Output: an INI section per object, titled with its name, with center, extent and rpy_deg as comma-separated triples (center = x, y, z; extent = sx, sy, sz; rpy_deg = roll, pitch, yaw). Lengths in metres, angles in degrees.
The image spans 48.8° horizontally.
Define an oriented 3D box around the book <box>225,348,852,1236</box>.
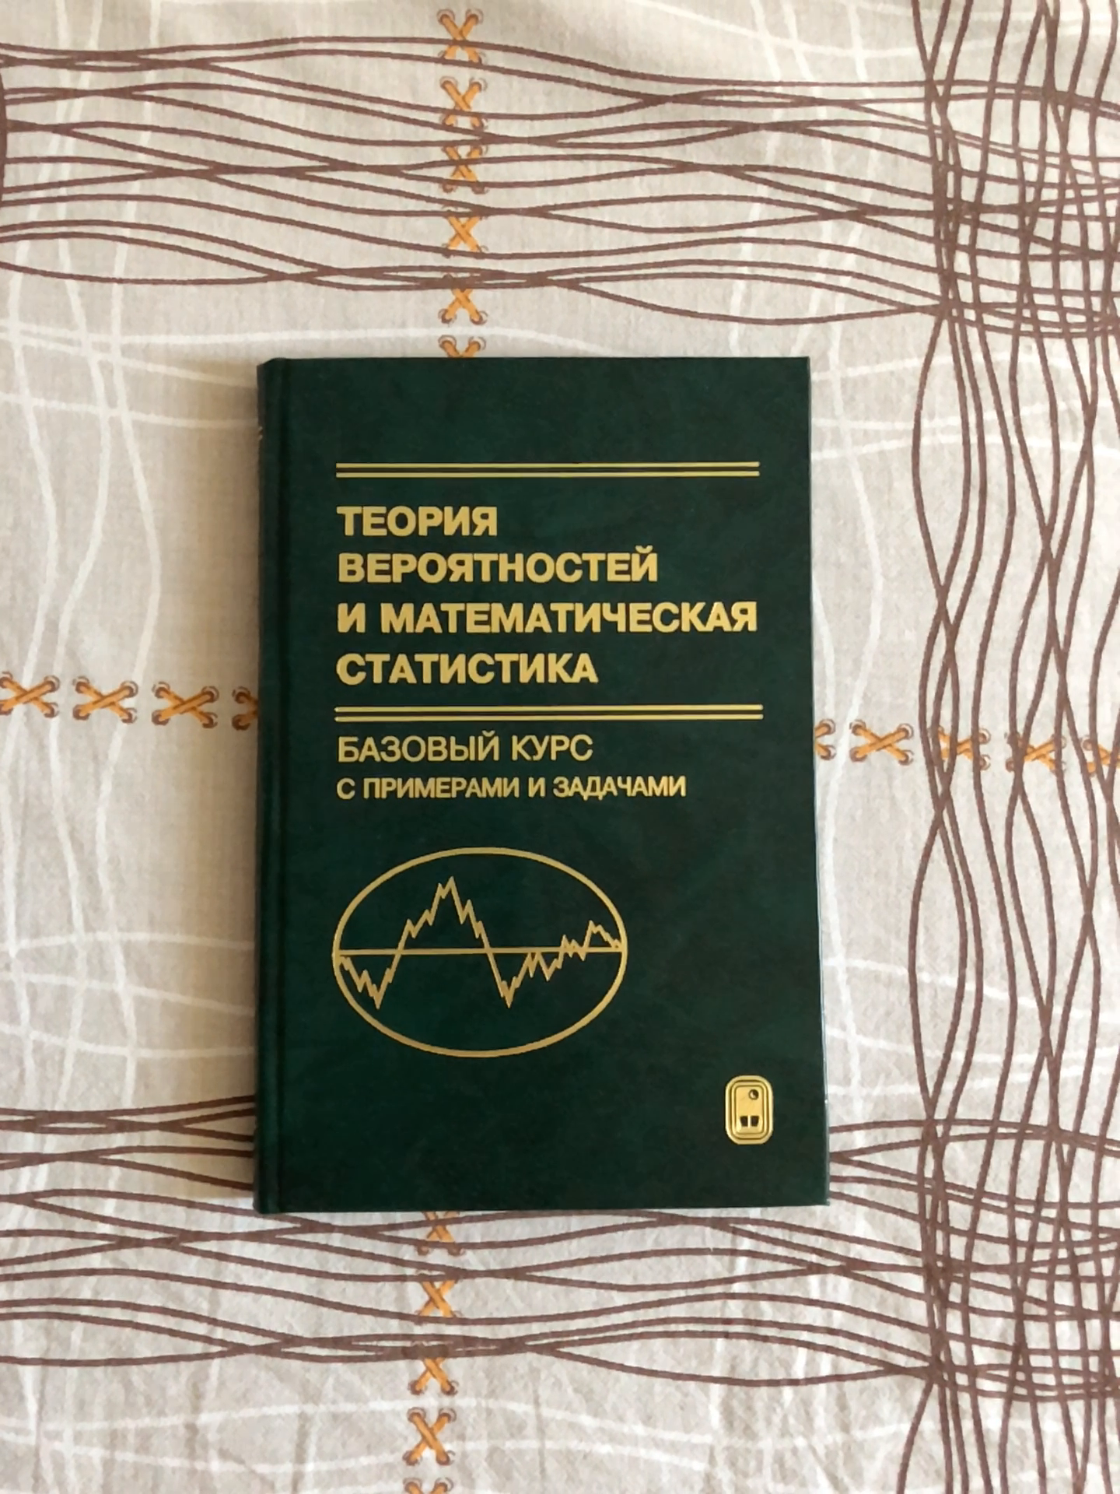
[book]
center = -0.006, 0.009, 0.318
extent = 0.150, 0.030, 0.217
rpy_deg = 0, 86, -1
